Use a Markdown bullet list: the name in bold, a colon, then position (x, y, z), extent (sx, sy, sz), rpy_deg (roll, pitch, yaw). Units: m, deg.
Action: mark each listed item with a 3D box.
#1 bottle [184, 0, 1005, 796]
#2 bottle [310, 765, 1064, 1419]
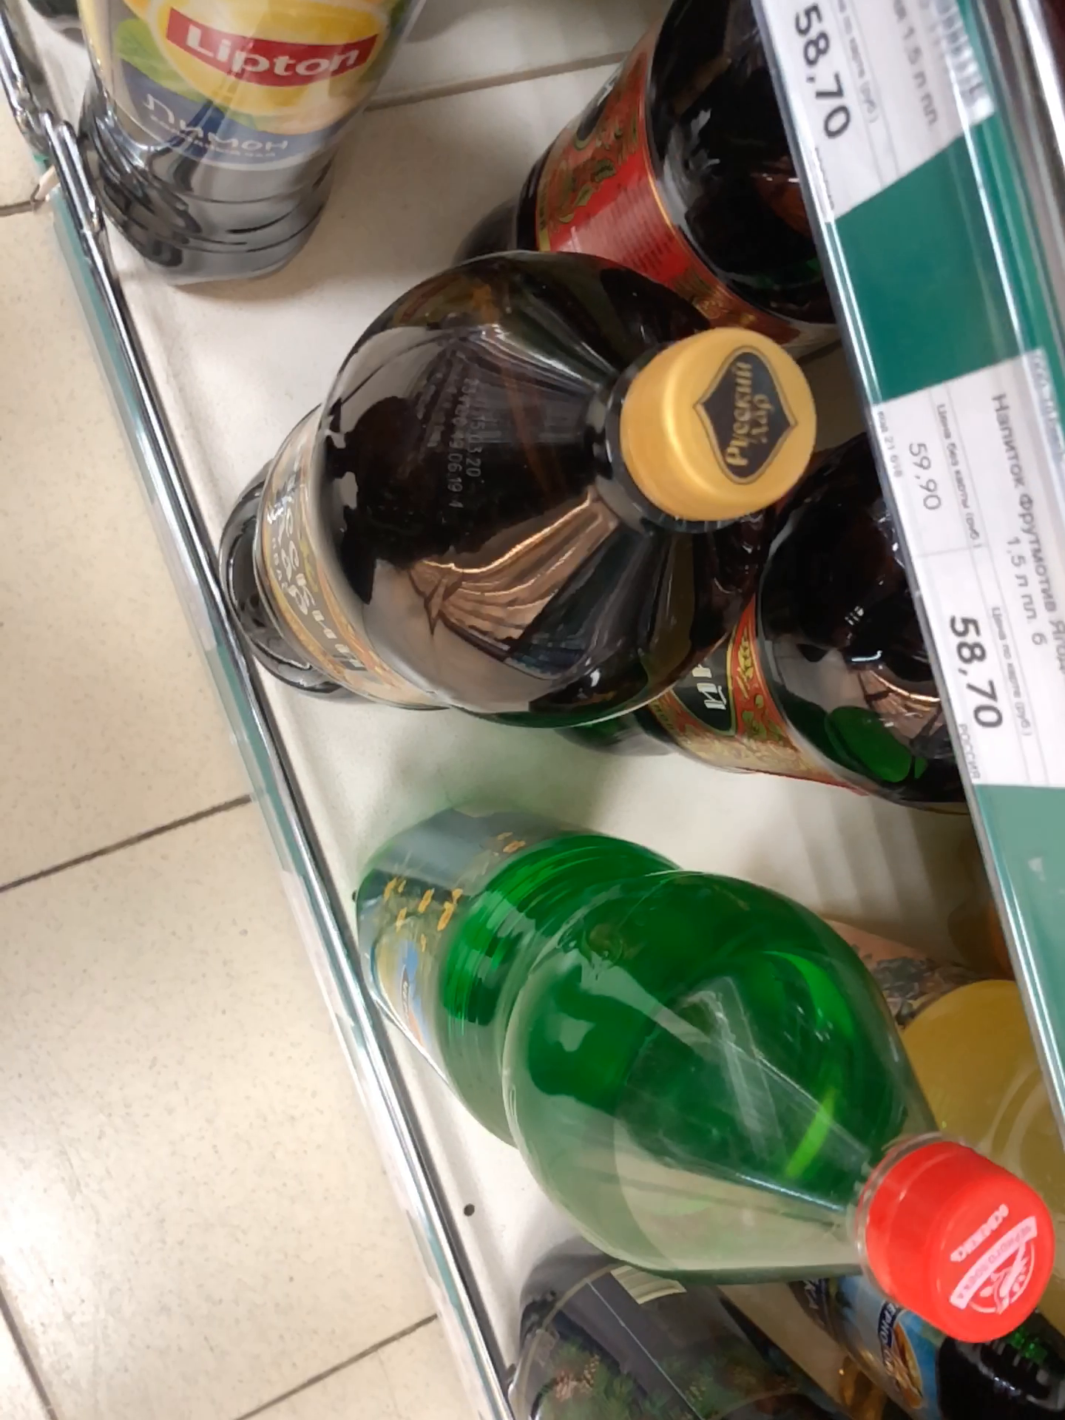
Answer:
- **bottle**: position (-0.028, -0.057, 0.338), extent (0.100, 0.323, 0.110), rpy_deg (-1, 92, -19)
- **bottle**: position (0.010, 0.087, 0.356), extent (0.085, 0.328, 0.099), rpy_deg (-16, 96, -18)
